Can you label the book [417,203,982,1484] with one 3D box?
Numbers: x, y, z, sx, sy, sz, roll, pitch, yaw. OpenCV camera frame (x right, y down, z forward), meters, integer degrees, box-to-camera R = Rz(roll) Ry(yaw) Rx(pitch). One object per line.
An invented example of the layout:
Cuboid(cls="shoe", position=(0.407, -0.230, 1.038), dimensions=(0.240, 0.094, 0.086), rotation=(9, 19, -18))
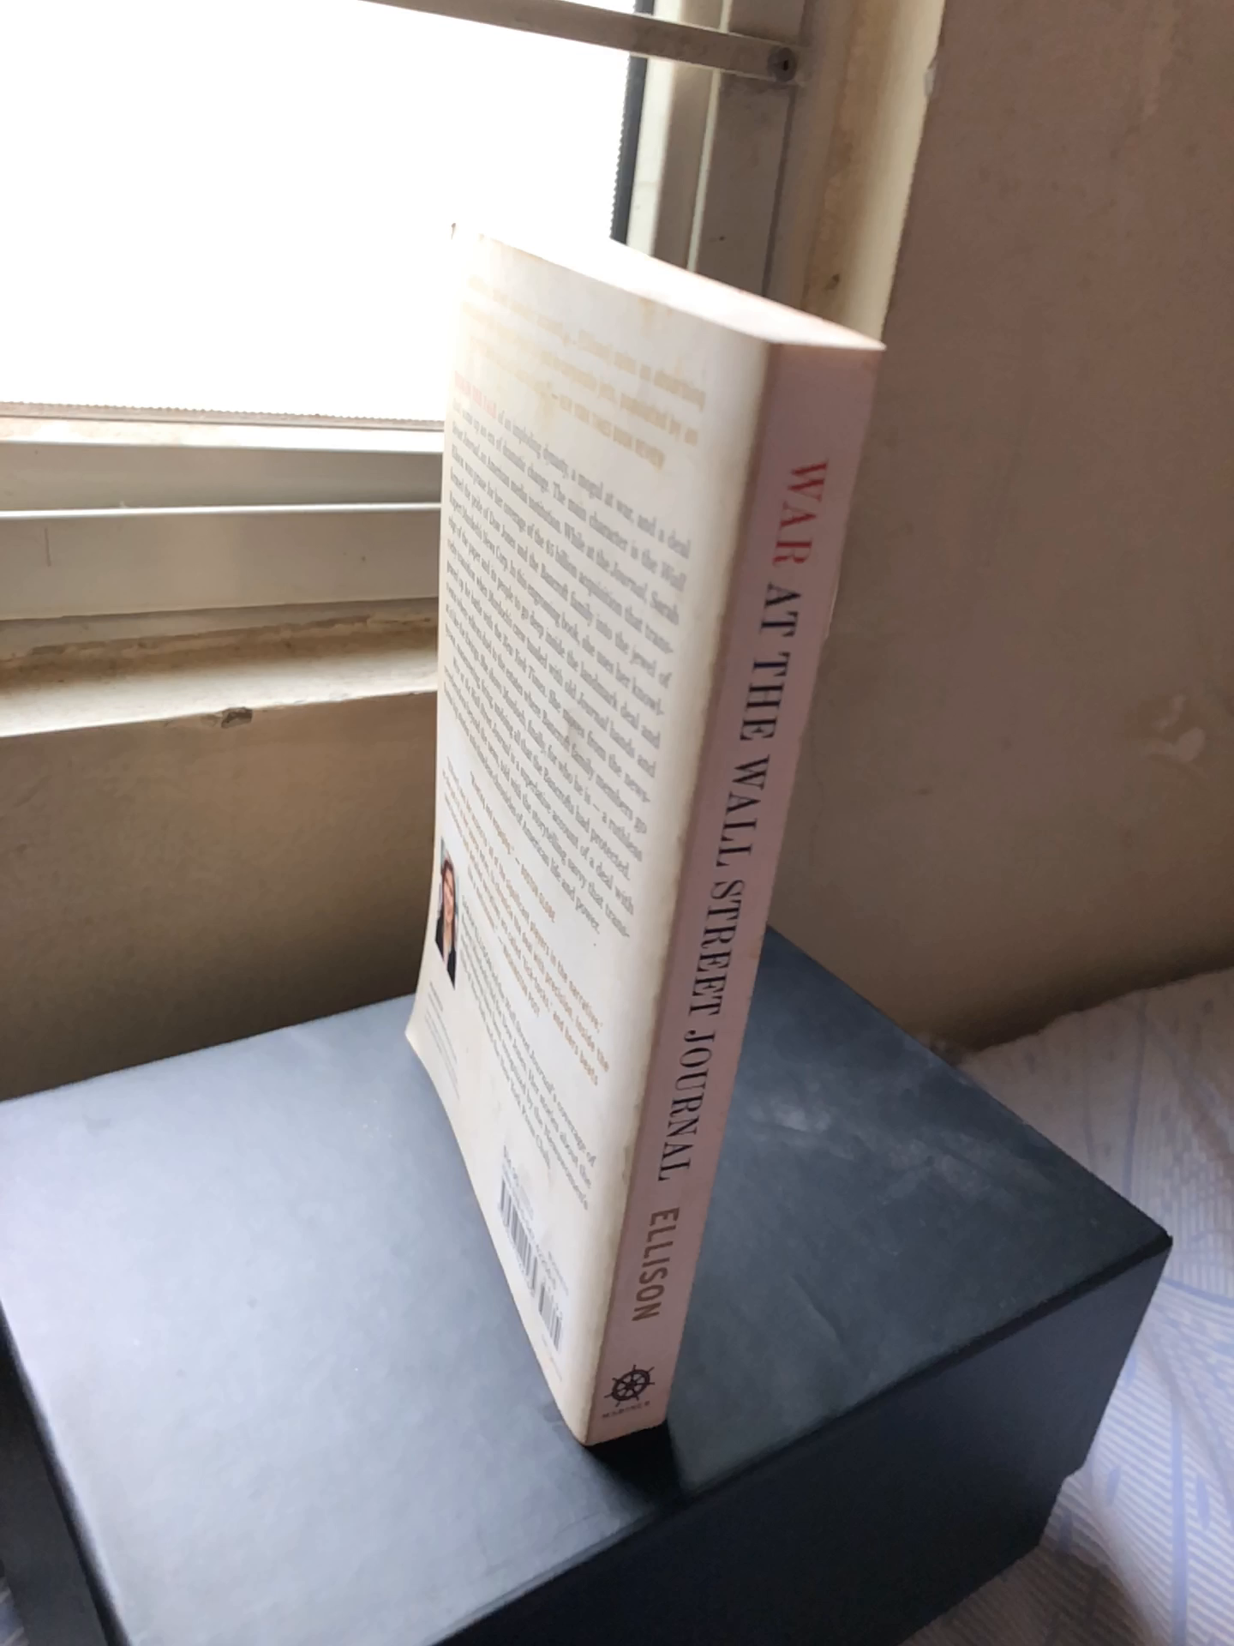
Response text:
Cuboid(cls="book", position=(-0.004, -0.007, 0.270), dimensions=(0.030, 0.199, 0.151), rotation=(-3, 26, -20))
